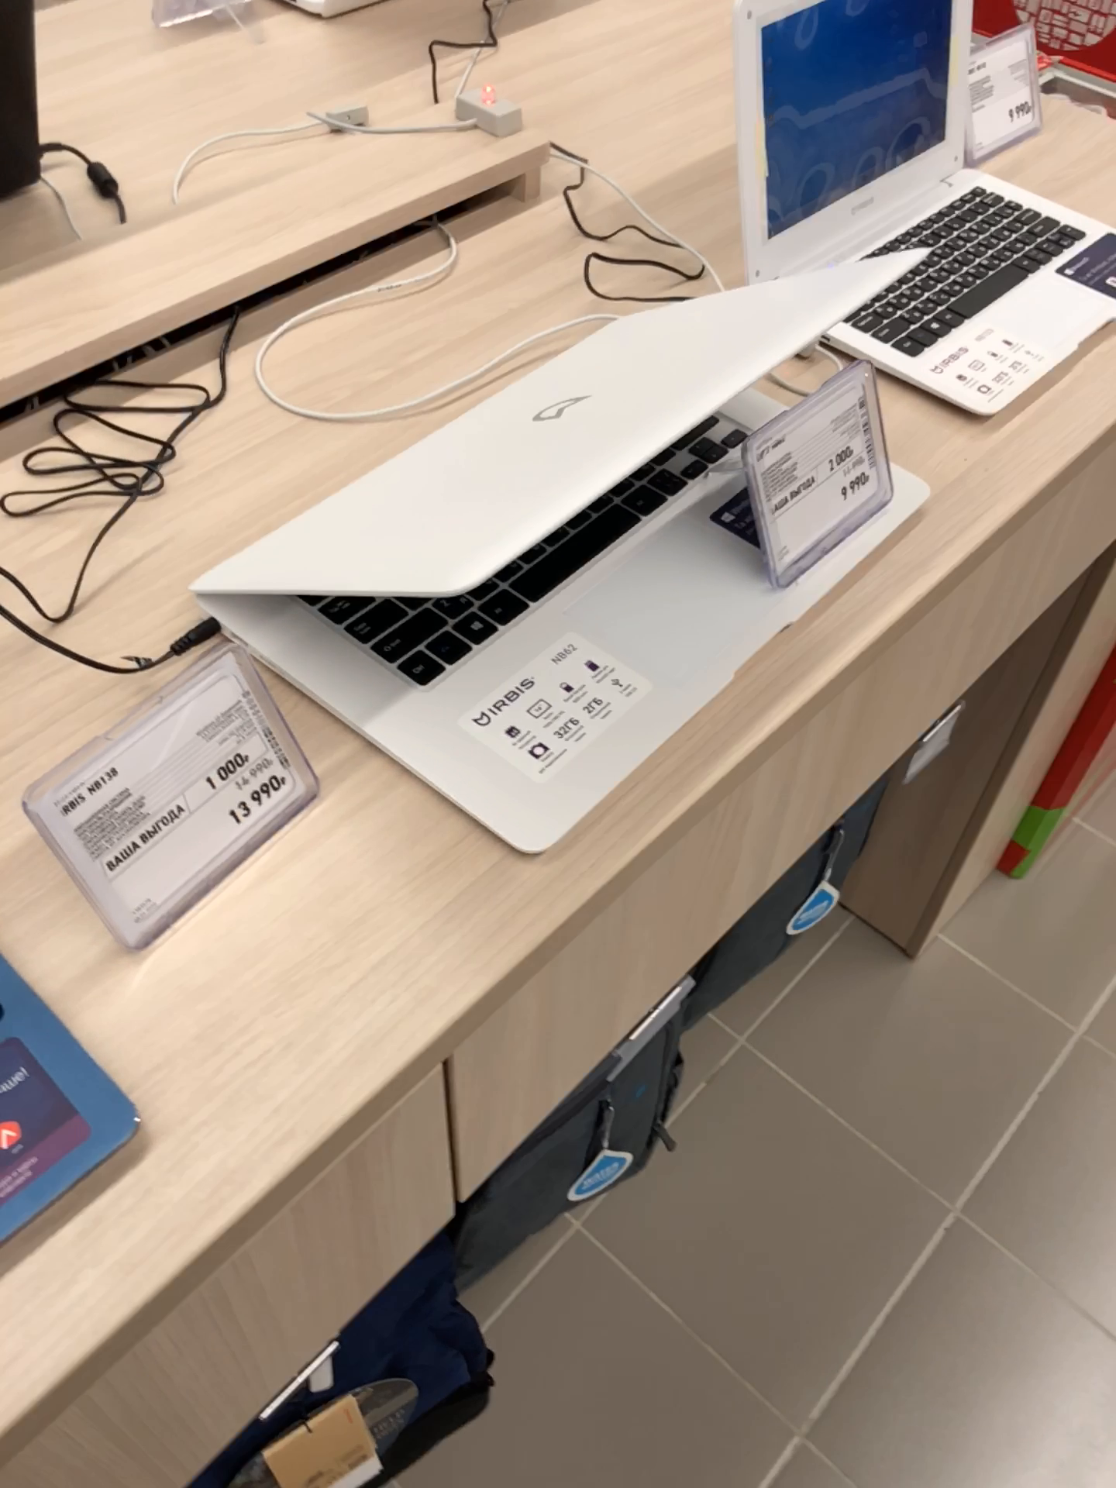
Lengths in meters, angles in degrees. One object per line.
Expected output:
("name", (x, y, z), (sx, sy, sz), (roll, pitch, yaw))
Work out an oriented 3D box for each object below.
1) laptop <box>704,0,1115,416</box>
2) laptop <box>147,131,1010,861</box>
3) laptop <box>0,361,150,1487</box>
("laptop", (0.275, -0.392, 0.793), (0.231, 0.168, 0.263), (38, 59, 26))
("laptop", (0.024, -0.148, 0.603), (0.223, 0.115, 0.351), (35, 56, 22))
("laptop", (-0.365, 0.080, 0.357), (0.319, 0.162, 0.310), (35, 55, 24))
